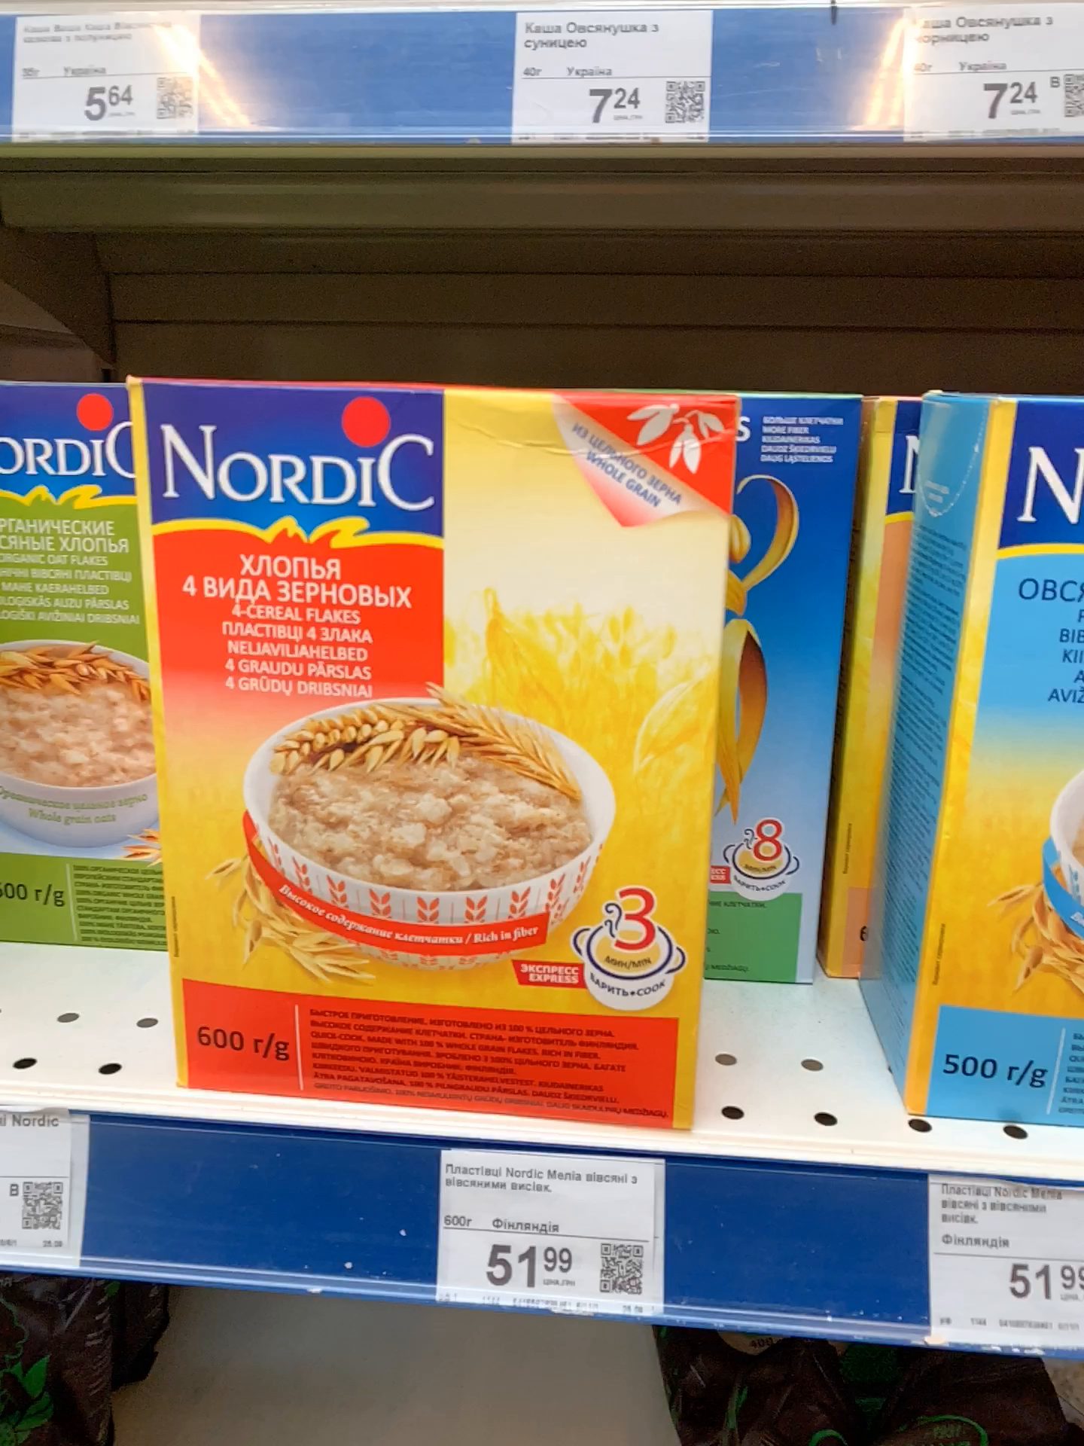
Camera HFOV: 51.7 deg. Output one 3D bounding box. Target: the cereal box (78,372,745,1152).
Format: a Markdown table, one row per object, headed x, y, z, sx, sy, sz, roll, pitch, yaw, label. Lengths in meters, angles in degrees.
| x | y | z | sx | sy | sz | roll | pitch | yaw | label |
| --- | --- | --- | --- | --- | --- | --- | --- | --- | --- |
| -0.028 | 0.004 | 0.309 | 0.150 | 0.189 | 0.080 | 3 | 15 | 7 | cereal box |
